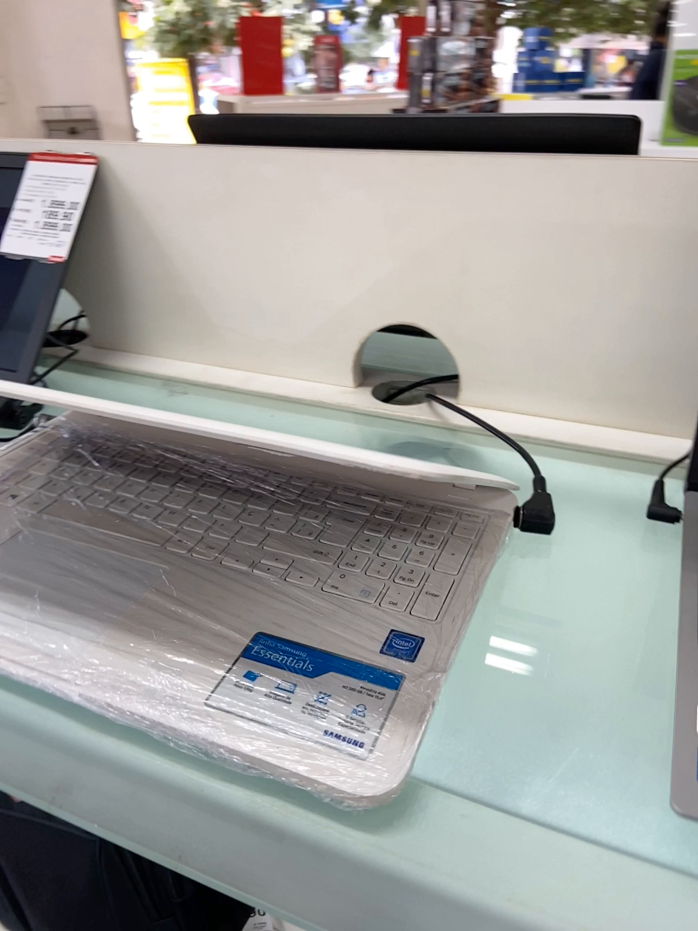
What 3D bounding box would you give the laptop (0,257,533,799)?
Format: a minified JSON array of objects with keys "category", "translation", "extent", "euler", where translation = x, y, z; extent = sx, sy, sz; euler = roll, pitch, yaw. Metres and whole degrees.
[{"category":"laptop","translation":[-0.113,-0.014,0.413],"extent":[0.372,0.129,0.248],"euler":[11,31,20]}]
